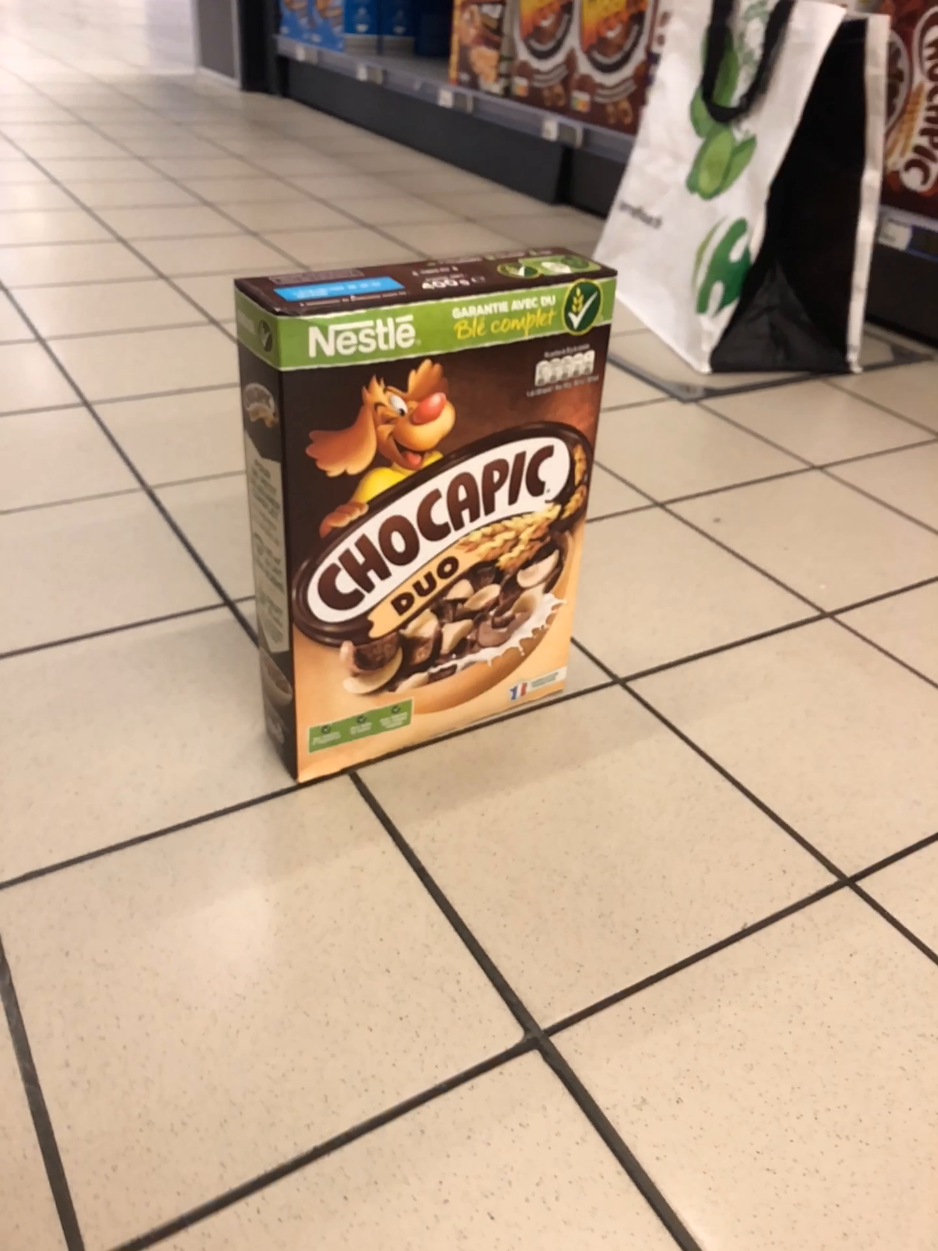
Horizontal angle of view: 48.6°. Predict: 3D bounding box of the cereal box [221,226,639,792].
[{"bbox_3d":[-0.021,-0.064,0.575,0.201,0.278,0.060,-15,36,-29],"label":"cereal box"}]
